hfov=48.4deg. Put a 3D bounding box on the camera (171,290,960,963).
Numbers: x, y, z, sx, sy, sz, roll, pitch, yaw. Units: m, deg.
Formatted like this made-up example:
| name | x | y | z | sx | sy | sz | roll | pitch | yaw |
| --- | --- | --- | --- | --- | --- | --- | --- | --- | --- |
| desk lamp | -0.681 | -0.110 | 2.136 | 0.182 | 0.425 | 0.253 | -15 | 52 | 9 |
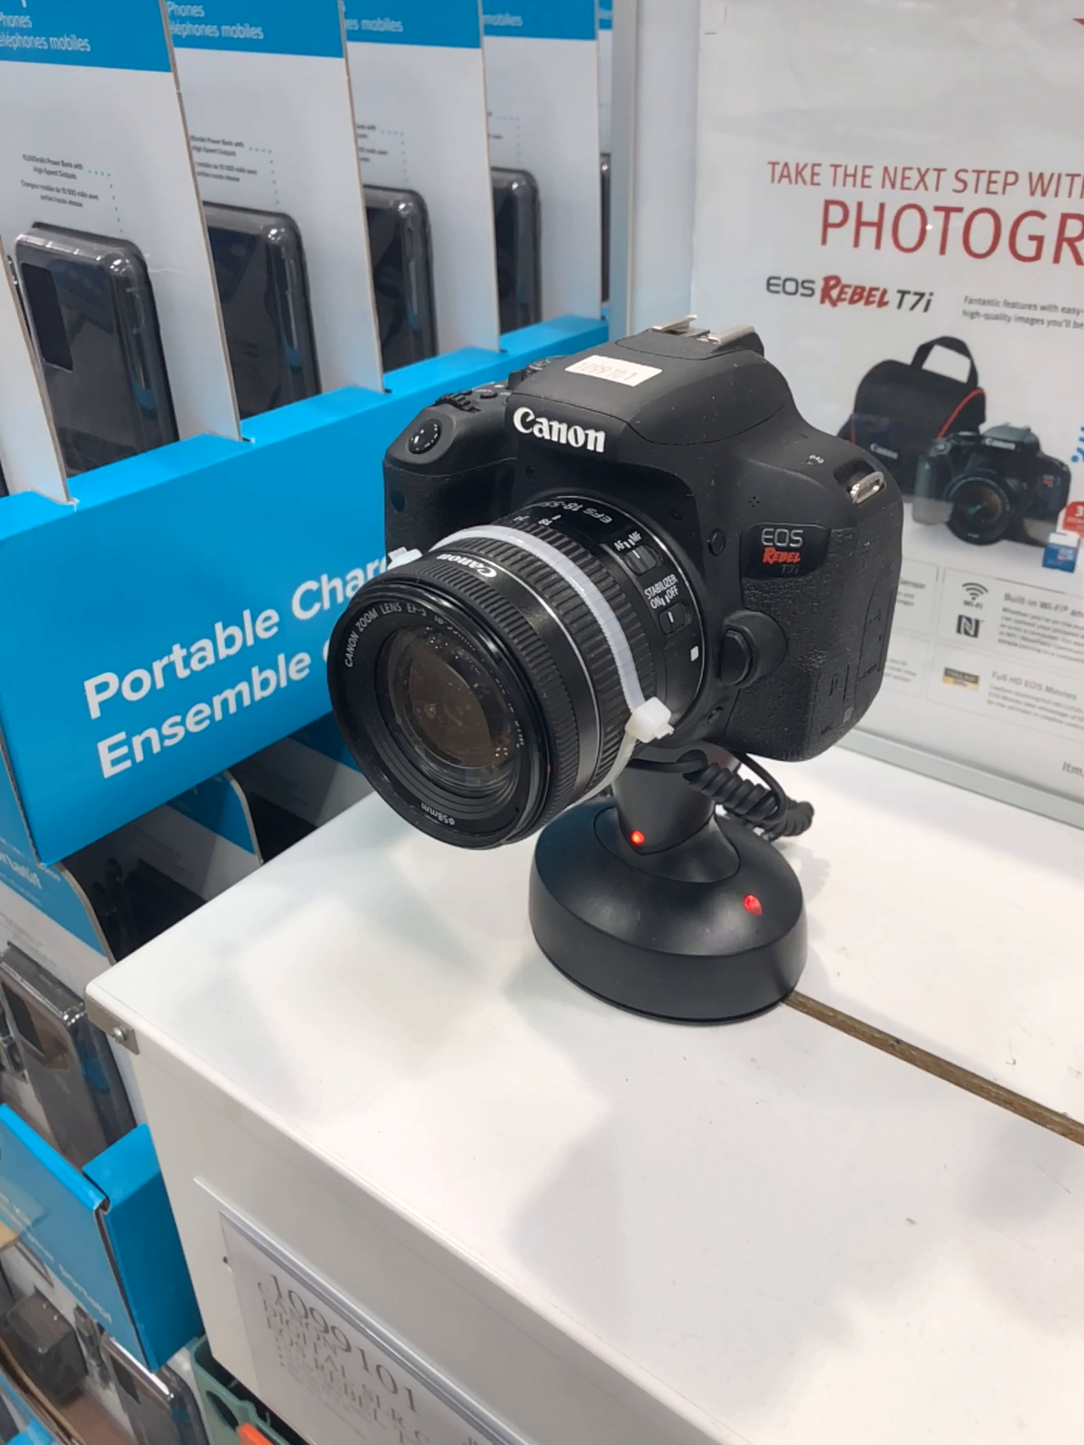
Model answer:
| name | x | y | z | sx | sy | sz | roll | pitch | yaw |
| --- | --- | --- | --- | --- | --- | --- | --- | --- | --- |
| camera | 0.012 | -0.042 | 0.320 | 0.130 | 0.100 | 0.150 | 20 | 37 | 31 |
